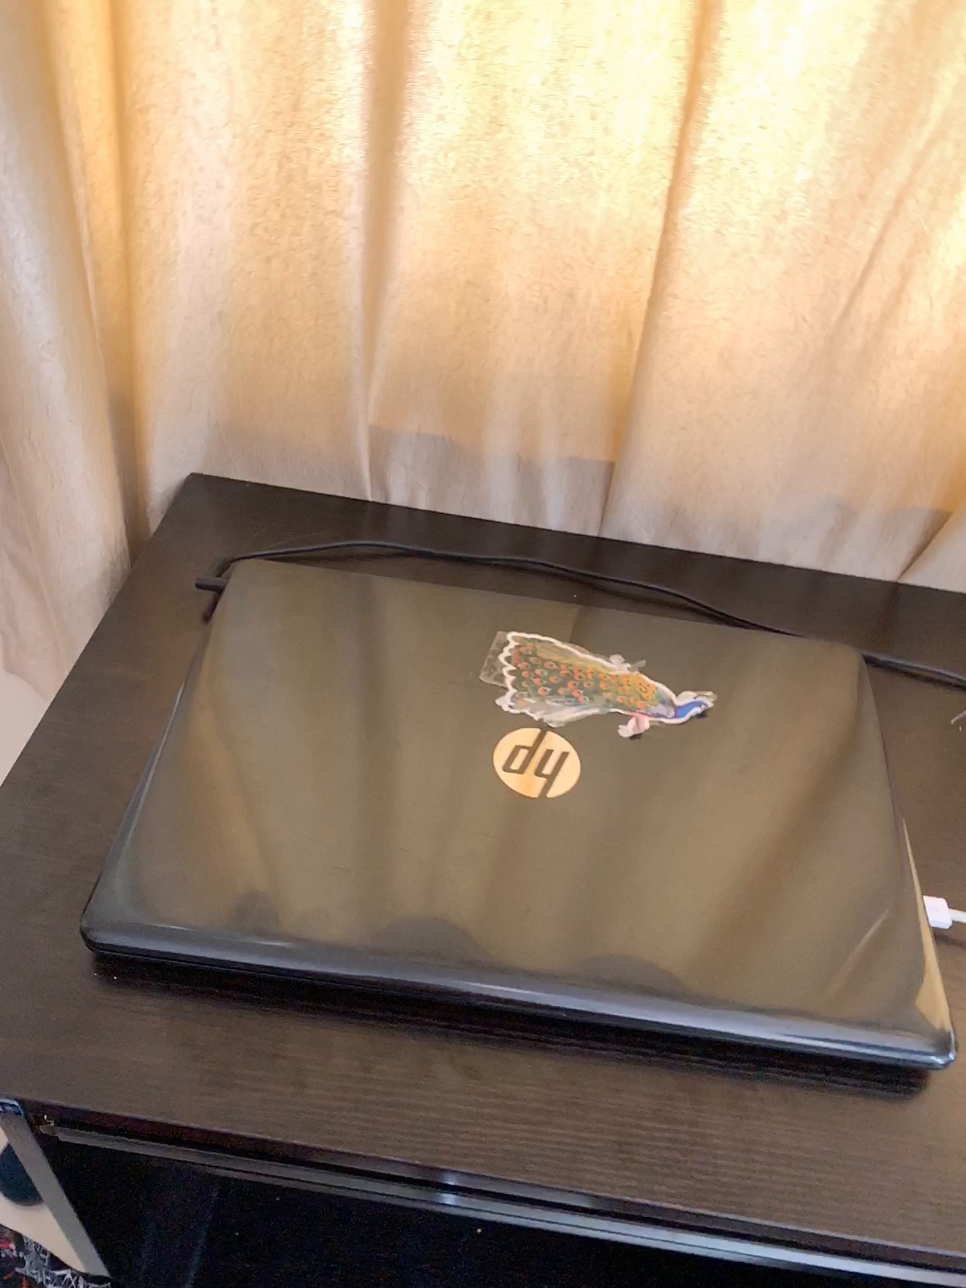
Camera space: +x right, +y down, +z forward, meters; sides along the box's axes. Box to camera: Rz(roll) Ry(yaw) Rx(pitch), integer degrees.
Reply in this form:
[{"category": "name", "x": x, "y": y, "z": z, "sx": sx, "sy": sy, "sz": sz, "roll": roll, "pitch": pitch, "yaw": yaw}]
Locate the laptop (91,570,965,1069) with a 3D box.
[{"category": "laptop", "x": 0.029, "y": 0.068, "z": 0.505, "sx": 0.373, "sy": 0.006, "sz": 0.238, "roll": 8, "pitch": 45, "yaw": 1}]
